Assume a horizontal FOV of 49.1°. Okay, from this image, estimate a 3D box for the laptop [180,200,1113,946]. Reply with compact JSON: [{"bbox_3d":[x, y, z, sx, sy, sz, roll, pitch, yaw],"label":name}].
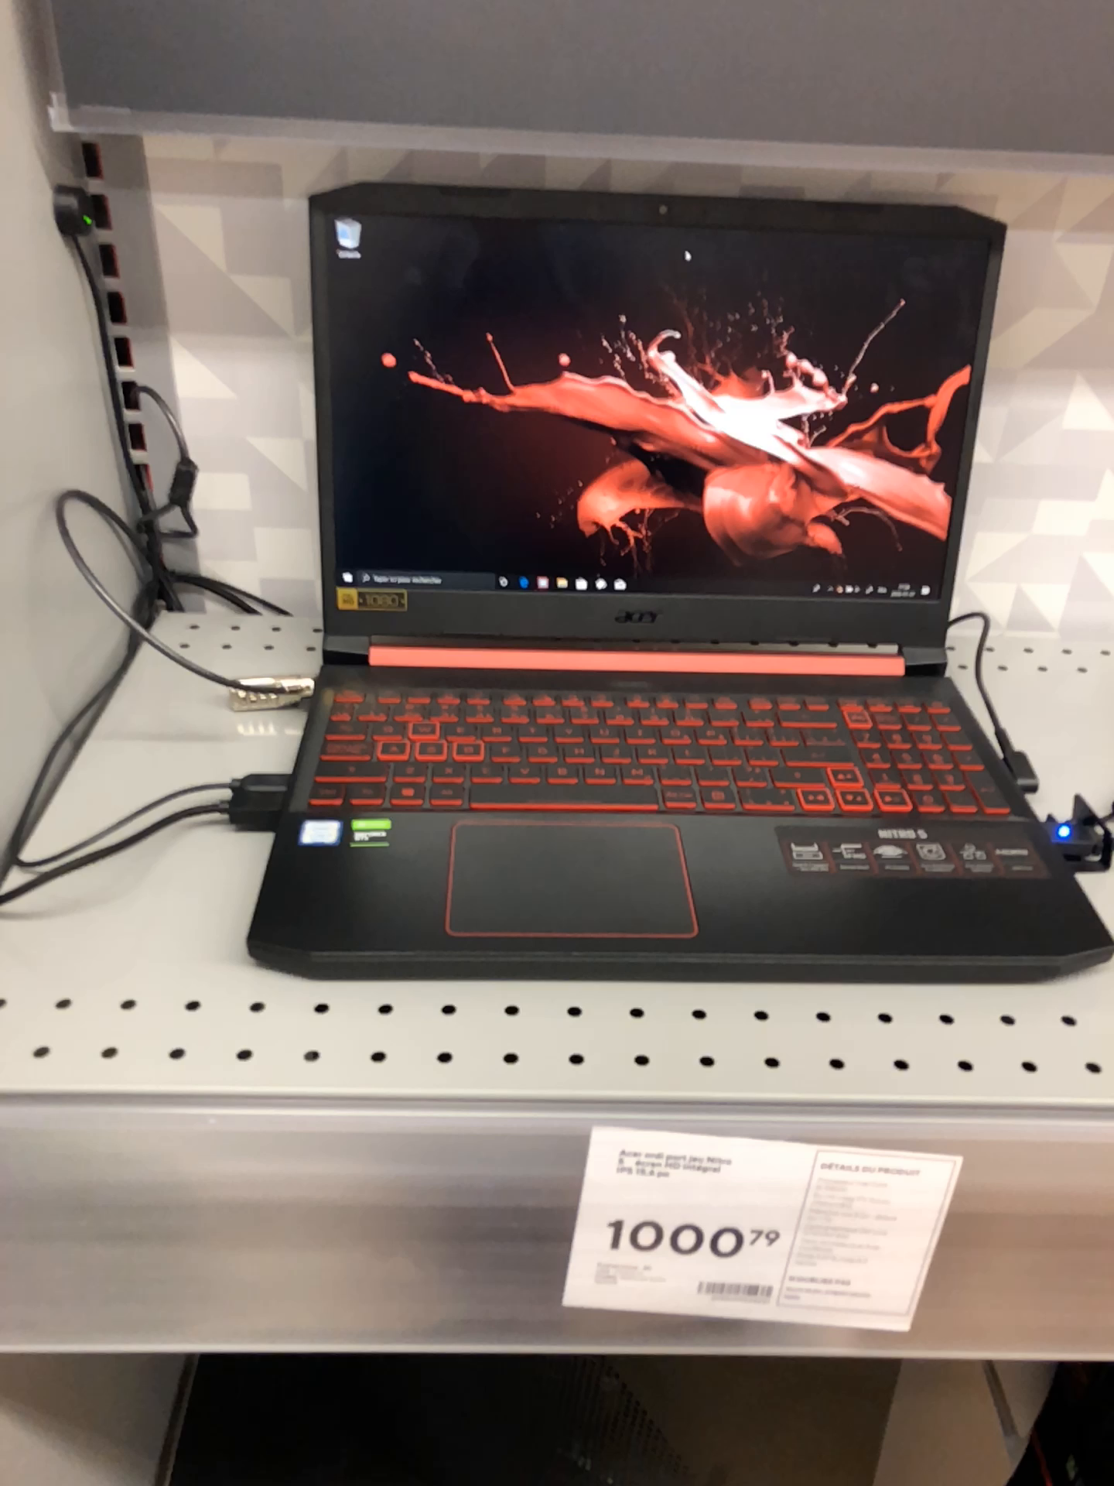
[{"bbox_3d":[0.055,-0.092,0.571,0.361,0.241,0.282,1,33,-4],"label":"laptop"}]
